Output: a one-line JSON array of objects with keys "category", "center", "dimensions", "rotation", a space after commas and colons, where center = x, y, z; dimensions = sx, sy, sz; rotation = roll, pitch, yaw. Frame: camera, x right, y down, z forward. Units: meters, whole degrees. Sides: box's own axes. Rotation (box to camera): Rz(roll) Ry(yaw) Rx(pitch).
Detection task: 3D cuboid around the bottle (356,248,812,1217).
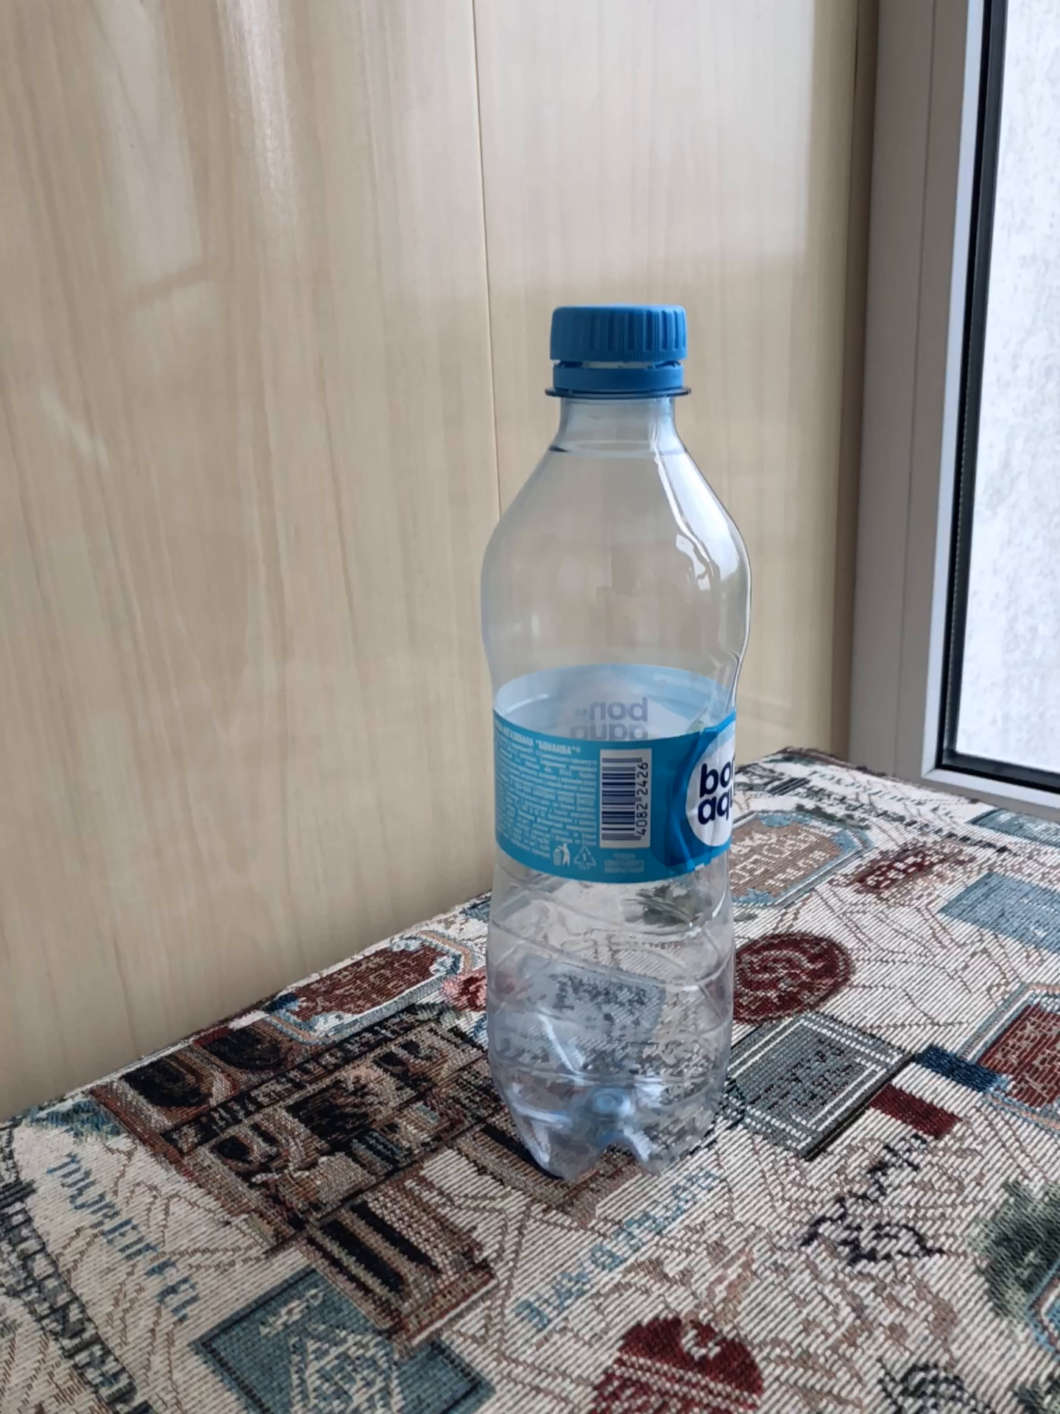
[{"category": "bottle", "center": [0.020, 0.002, 0.288], "dimensions": [0.070, 0.209, 0.080], "rotation": [8, 21, 30]}]
